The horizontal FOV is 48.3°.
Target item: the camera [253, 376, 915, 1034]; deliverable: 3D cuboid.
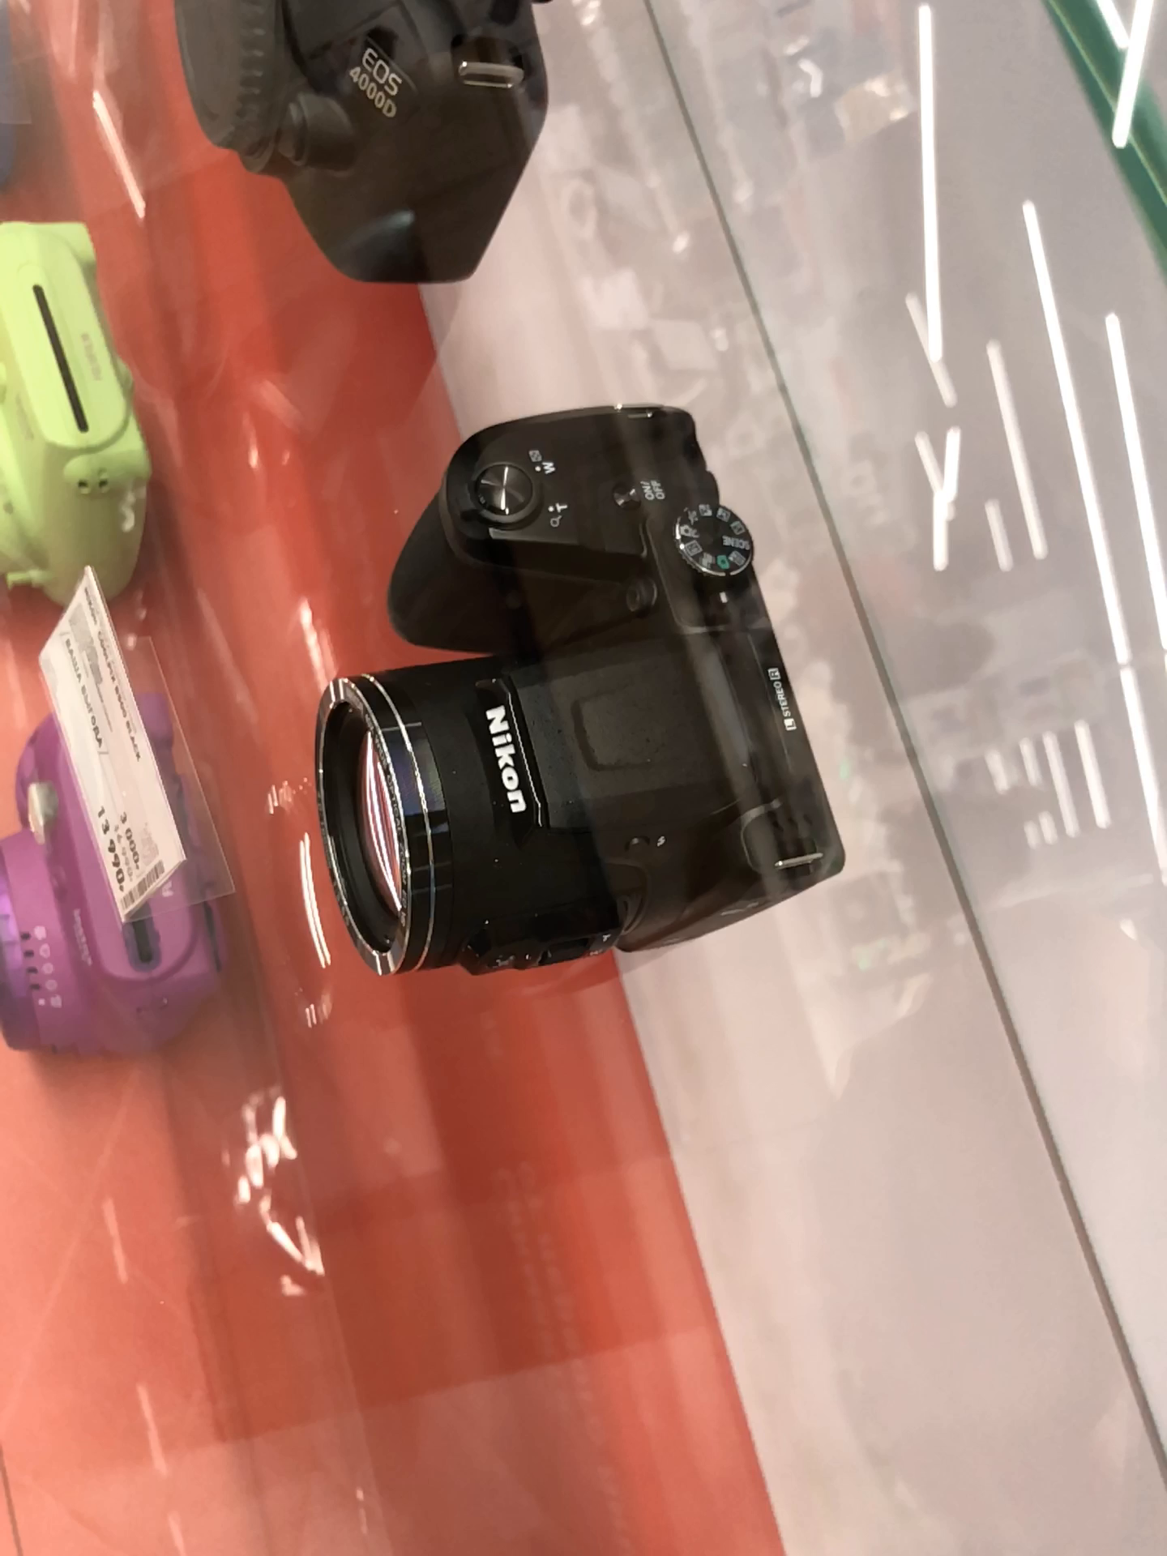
[{"bbox_3d":[-0.006,-0.017,0.284,0.100,0.070,0.115,-9,76,-25],"label":"camera"}]
